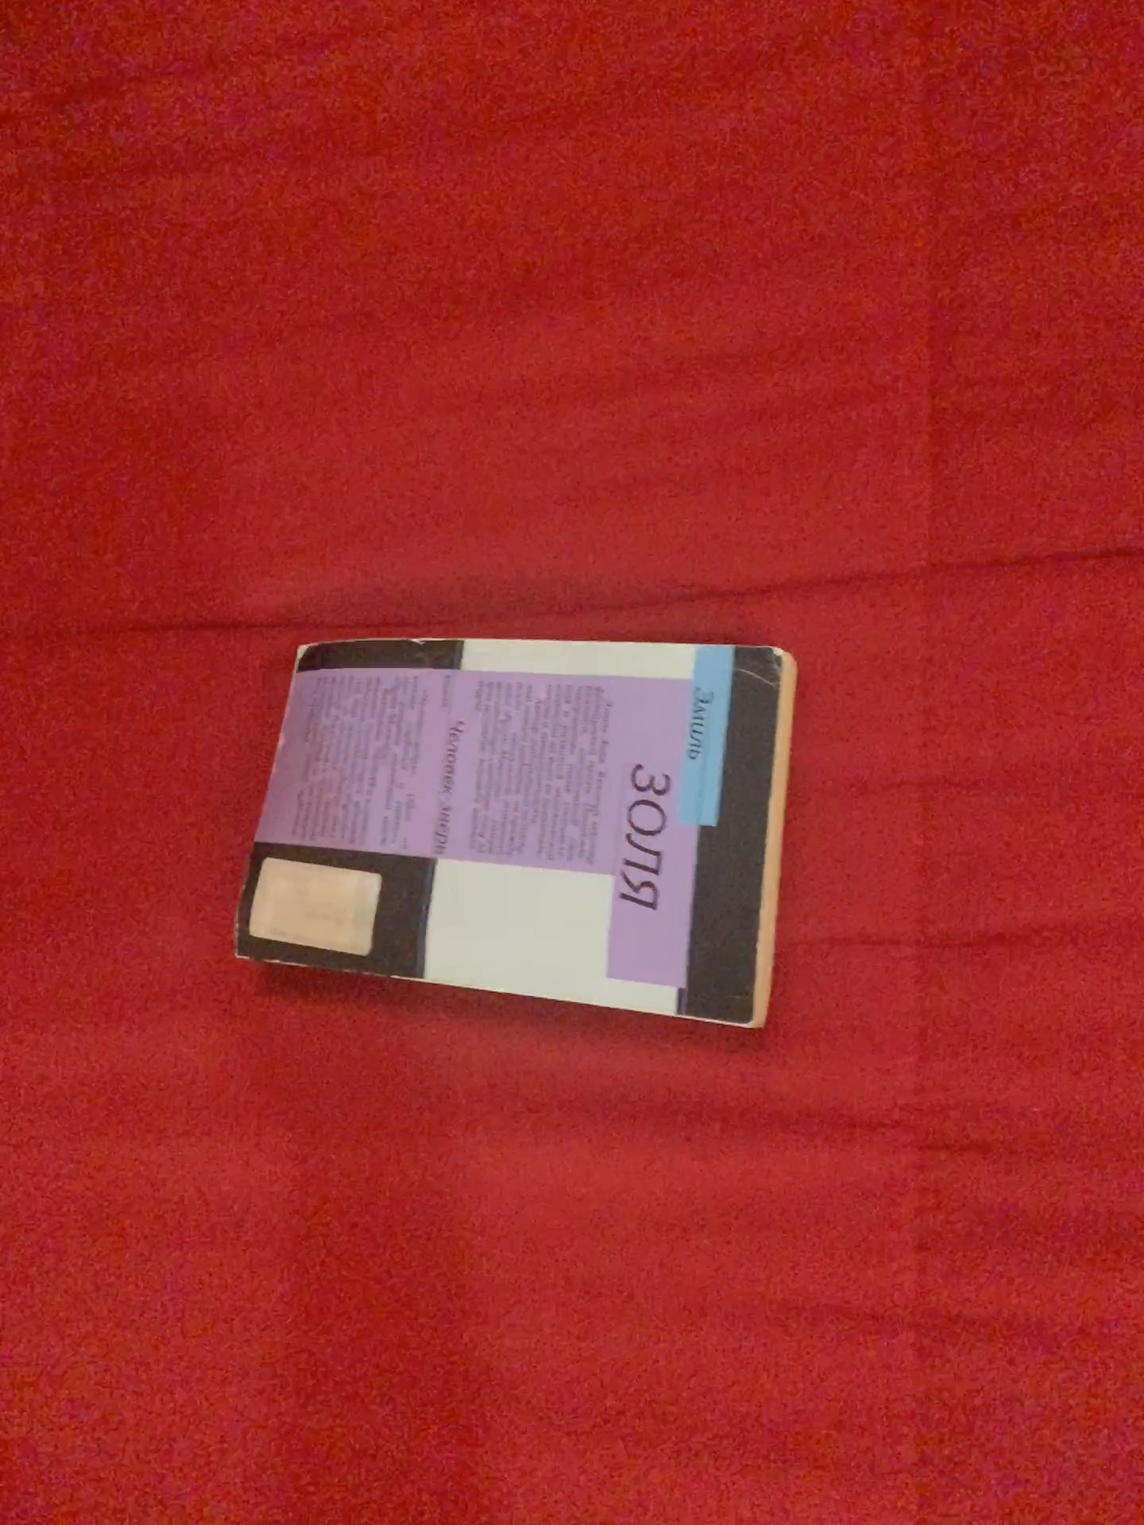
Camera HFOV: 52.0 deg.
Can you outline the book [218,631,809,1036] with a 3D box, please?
[{"bbox_3d":[-0.019,0.018,0.366,0.171,0.033,0.109,3,78,20],"label":"book"}]
